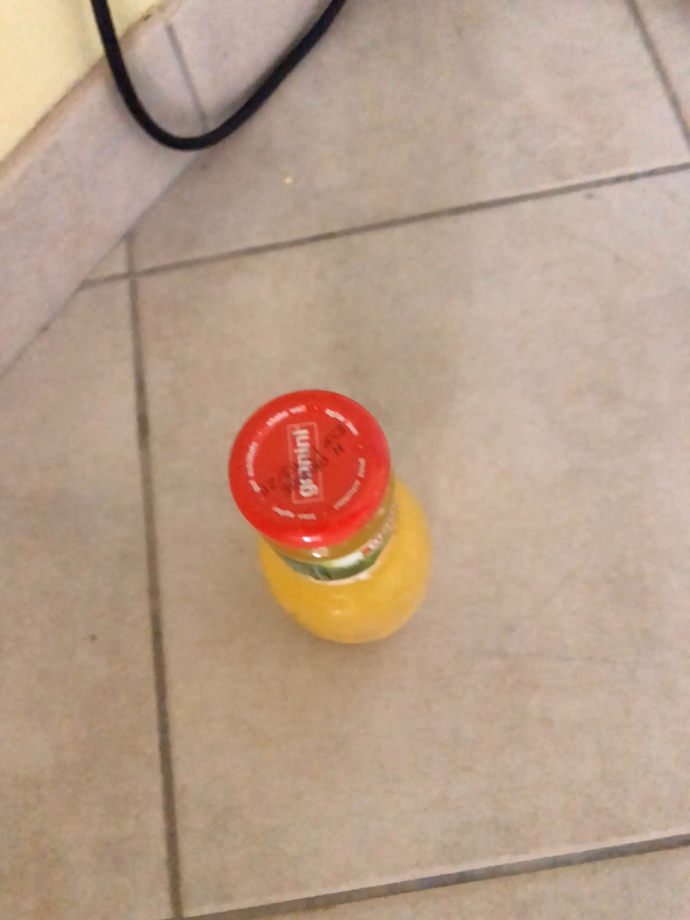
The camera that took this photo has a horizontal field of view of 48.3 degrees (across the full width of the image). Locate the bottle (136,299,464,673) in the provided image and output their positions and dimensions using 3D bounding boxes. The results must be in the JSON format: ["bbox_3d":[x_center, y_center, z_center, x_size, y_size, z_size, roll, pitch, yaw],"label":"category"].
[{"bbox_3d":[-0.004,0.023,0.268,0.060,0.160,0.070,20,74,12],"label":"bottle"}]
